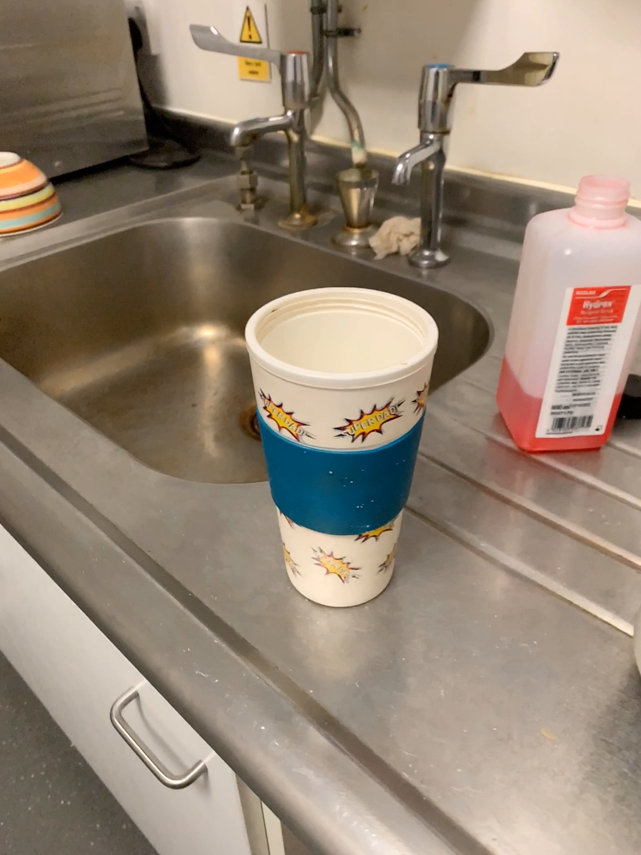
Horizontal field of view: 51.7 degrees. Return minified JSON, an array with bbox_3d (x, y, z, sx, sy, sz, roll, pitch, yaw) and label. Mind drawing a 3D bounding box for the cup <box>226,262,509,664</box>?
[{"bbox_3d":[0.022,0.017,0.349,0.093,0.167,0.090,0,35,0],"label":"cup"}]
